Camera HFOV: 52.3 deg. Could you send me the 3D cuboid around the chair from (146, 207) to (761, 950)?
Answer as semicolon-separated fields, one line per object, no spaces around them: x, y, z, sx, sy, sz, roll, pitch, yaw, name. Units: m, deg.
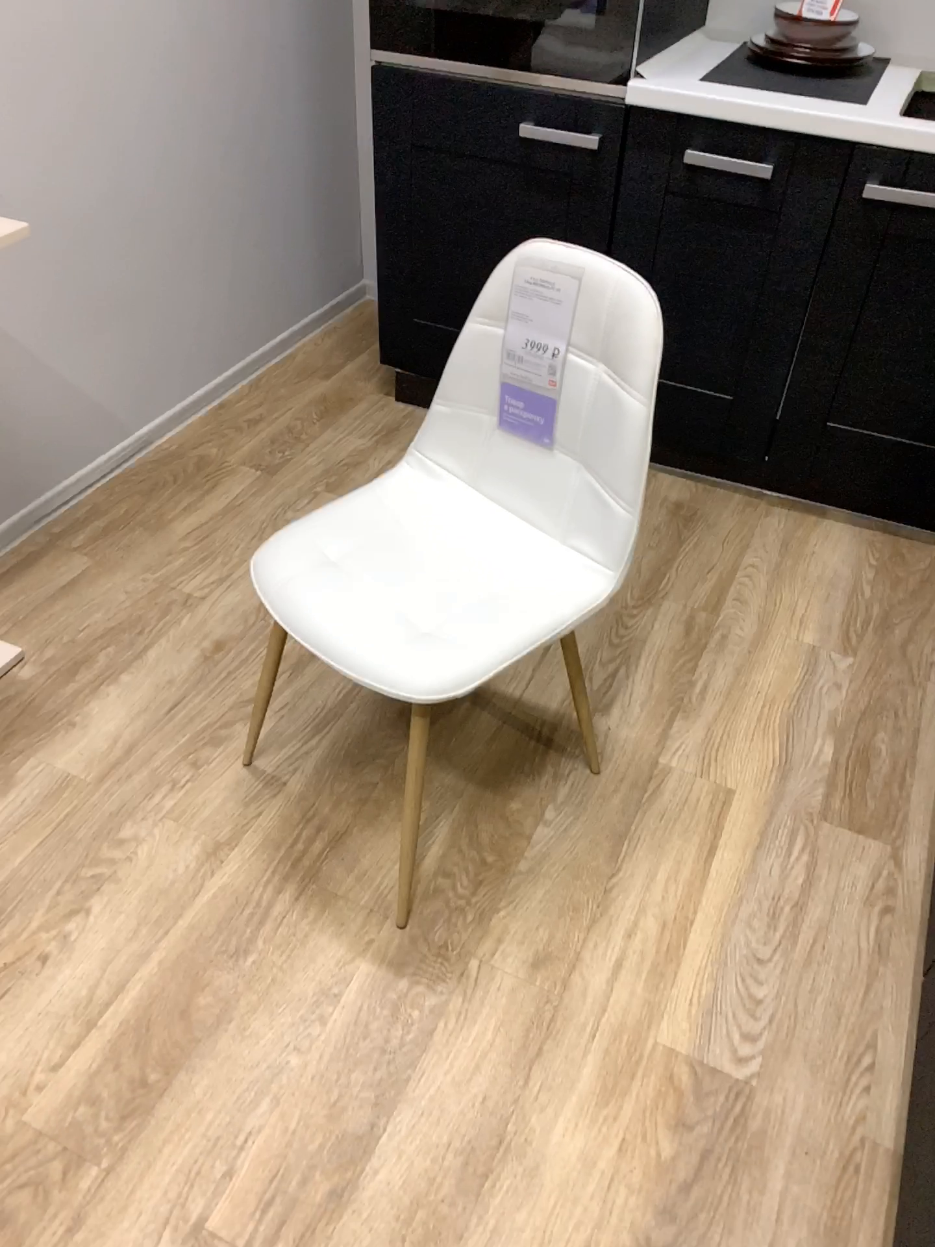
-0.024;-0.070;1.414;0.572;0.825;0.471;-31;51;-33;chair
